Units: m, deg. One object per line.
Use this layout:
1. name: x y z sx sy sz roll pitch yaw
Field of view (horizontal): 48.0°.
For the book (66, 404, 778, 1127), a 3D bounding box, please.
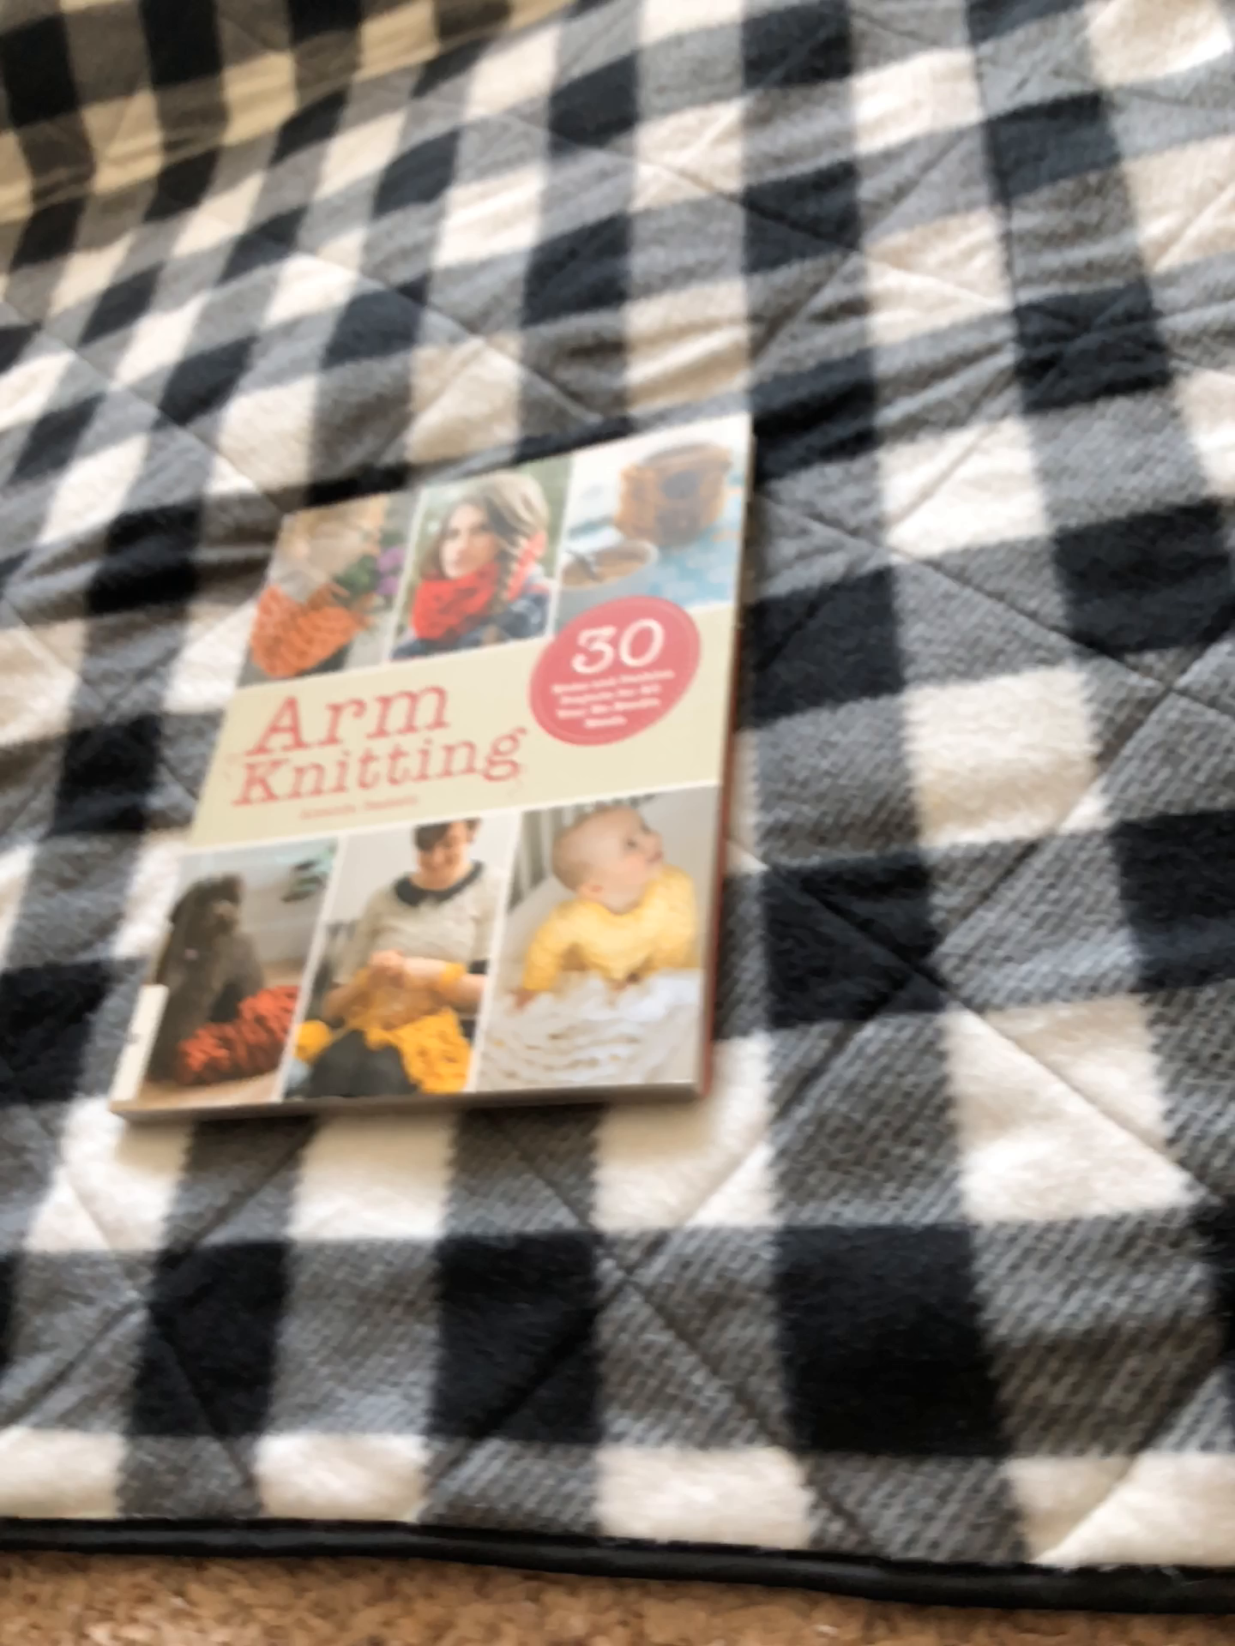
1. book: -0.054 -0.023 0.440 0.196 0.020 0.238 -6 55 22
